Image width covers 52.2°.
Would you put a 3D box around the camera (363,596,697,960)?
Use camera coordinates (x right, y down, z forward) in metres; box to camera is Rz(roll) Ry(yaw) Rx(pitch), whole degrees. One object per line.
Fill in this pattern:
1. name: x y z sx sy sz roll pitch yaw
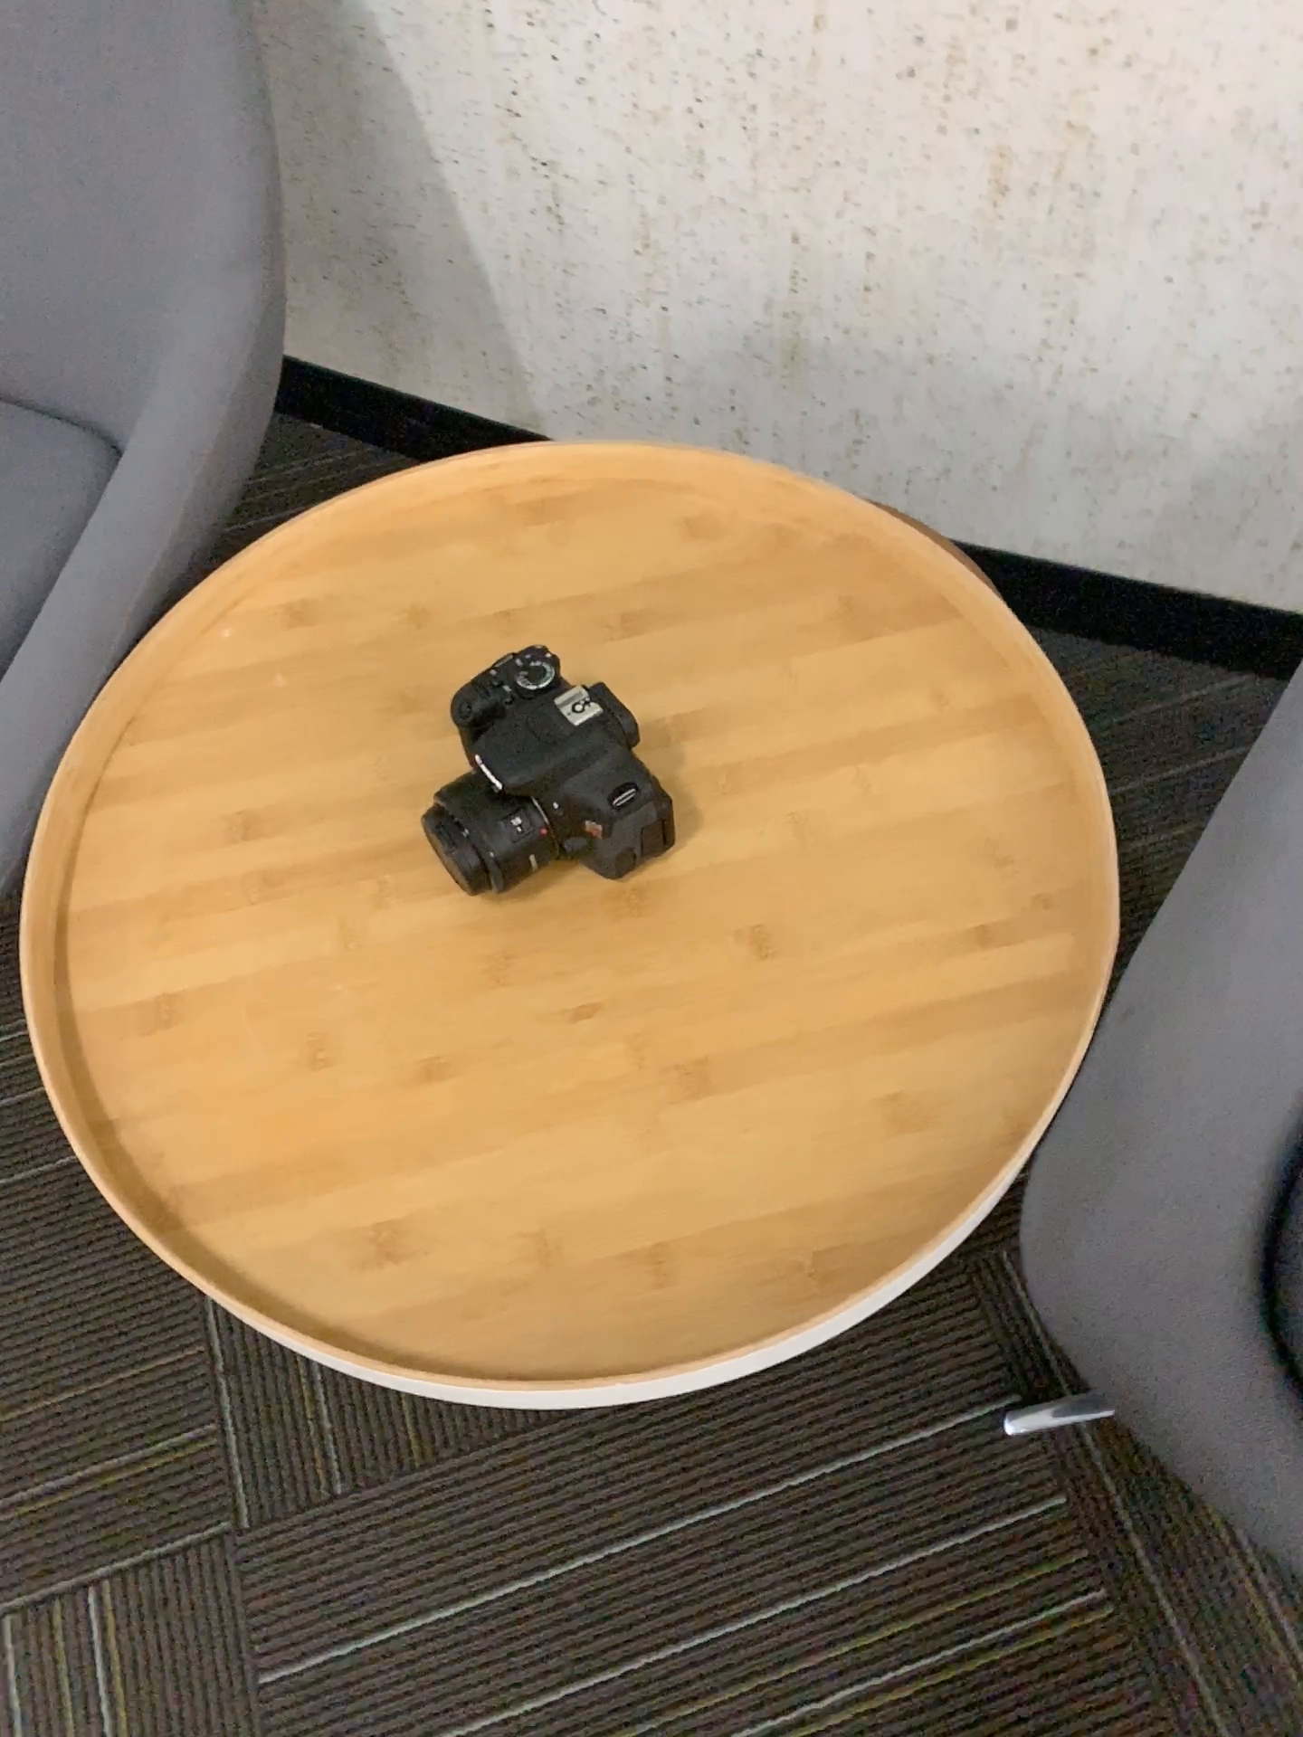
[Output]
1. camera: -0.064 -0.050 0.729 0.119 0.090 0.134 -33 65 -13
